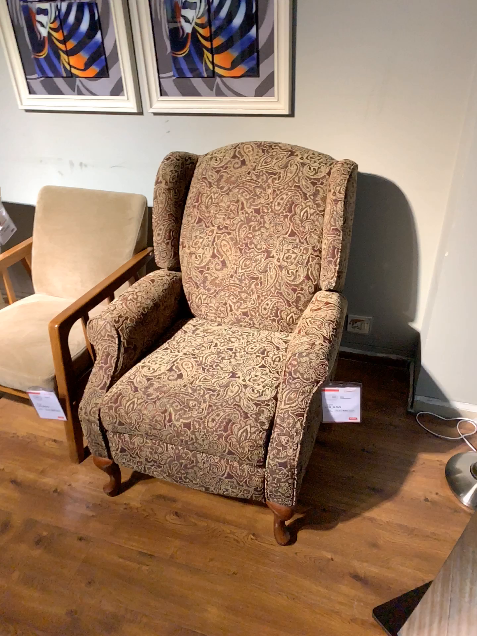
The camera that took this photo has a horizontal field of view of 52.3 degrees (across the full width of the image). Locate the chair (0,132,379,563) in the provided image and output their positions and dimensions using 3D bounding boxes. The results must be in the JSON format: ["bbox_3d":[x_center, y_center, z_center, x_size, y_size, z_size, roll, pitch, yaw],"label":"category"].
[{"bbox_3d":[-0.047,0.023,1.507,0.751,0.956,0.762,9,34,17],"label":"chair"}]
